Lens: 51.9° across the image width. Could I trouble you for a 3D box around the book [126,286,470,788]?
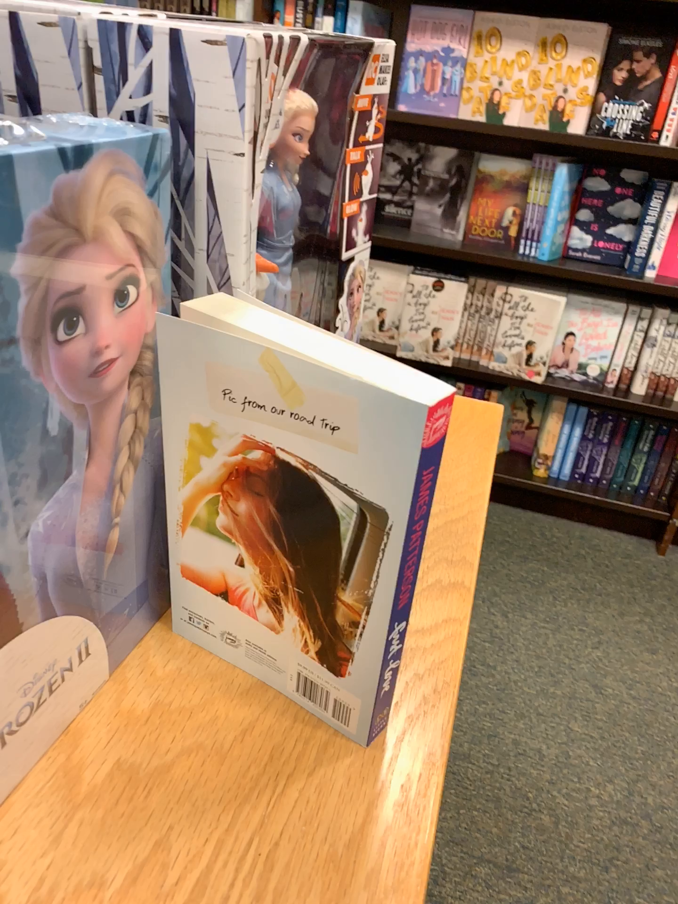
[{"bbox_3d":[-0.028,0.042,0.348,0.142,0.205,0.059,27,39,31],"label":"book"}]
